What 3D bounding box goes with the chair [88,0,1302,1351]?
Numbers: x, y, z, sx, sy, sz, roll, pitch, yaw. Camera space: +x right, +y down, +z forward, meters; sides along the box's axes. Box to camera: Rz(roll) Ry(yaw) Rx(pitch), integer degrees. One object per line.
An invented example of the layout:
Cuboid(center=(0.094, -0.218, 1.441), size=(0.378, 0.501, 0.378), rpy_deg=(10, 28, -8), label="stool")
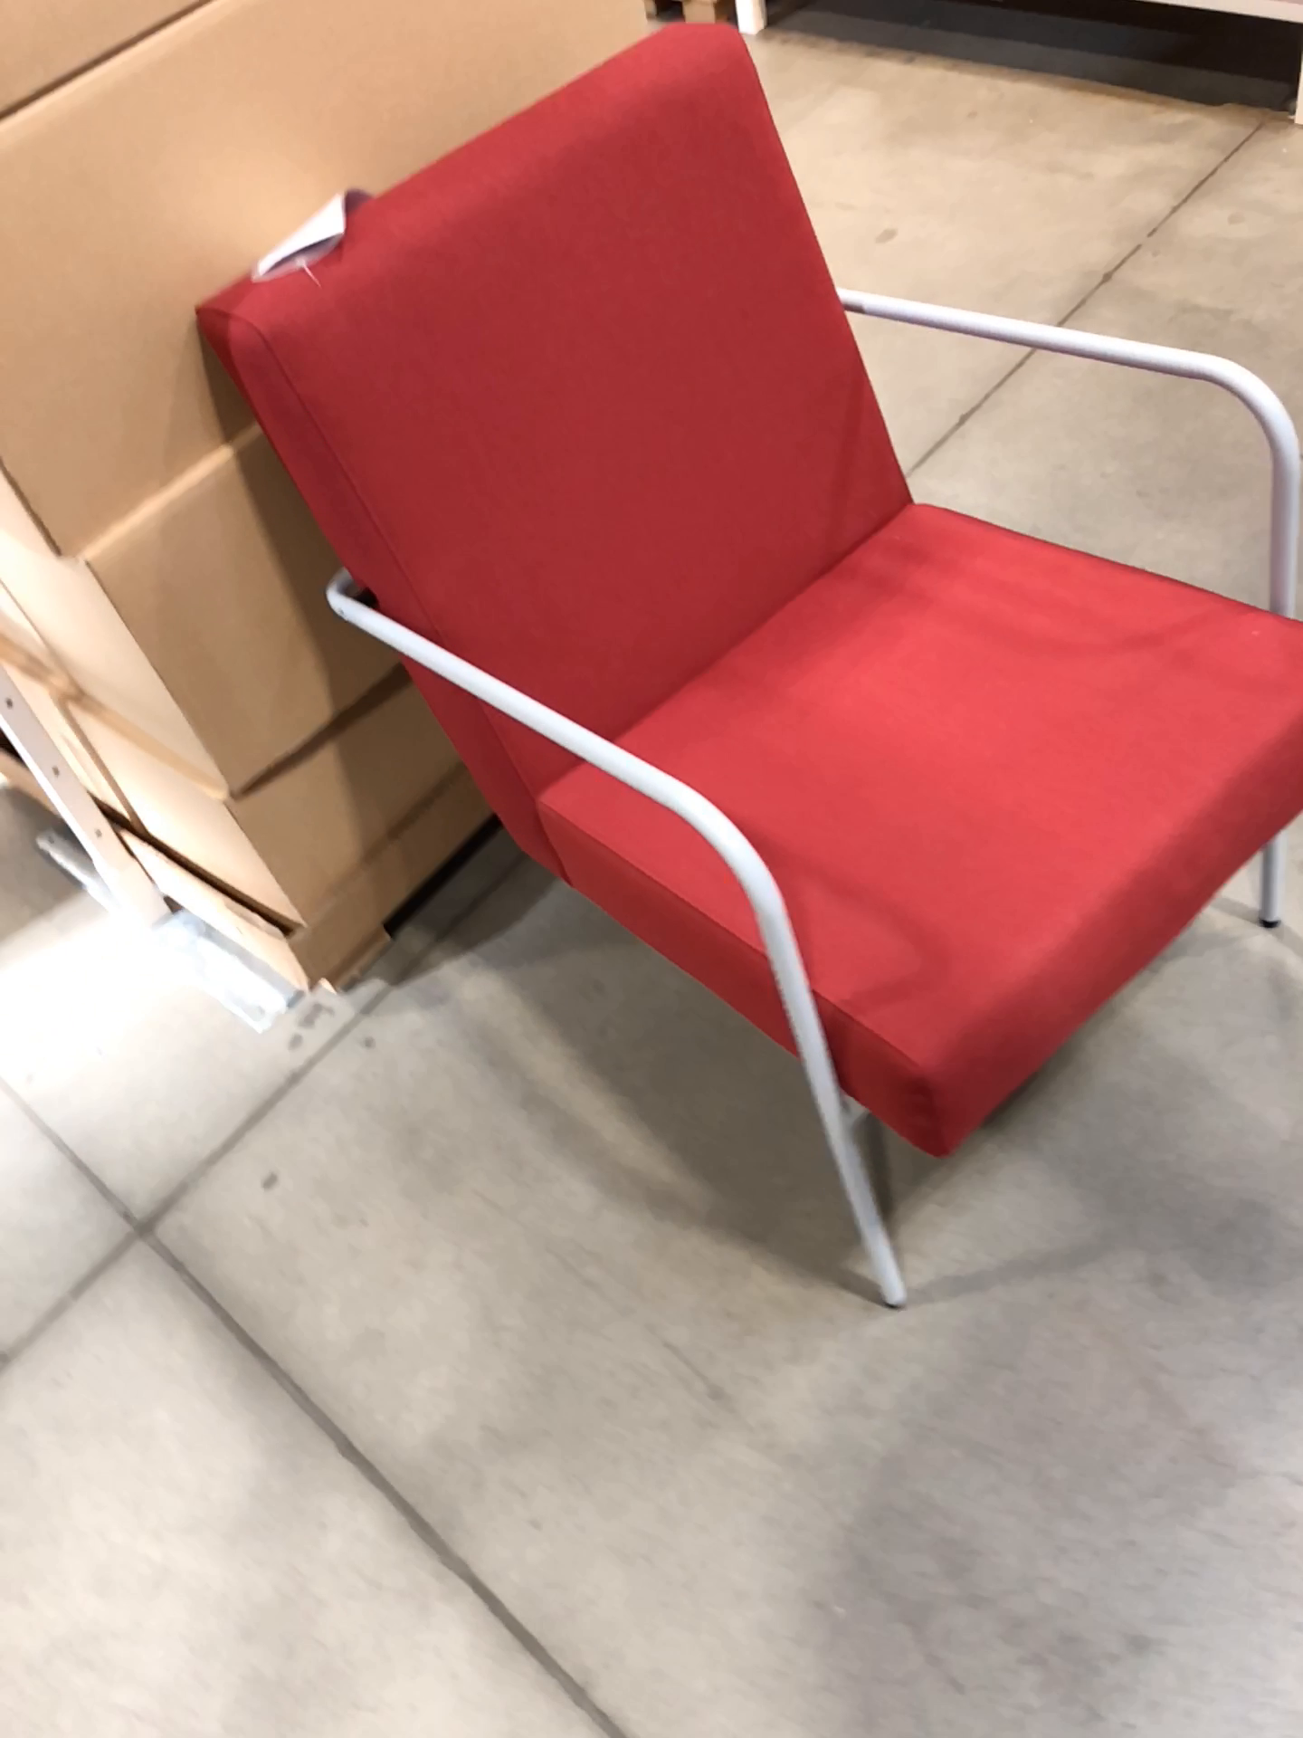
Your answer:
Cuboid(center=(0.118, -0.196, 1.239), size=(0.630, 0.708, 0.762), rpy_deg=(-40, 54, -18), label="chair")
